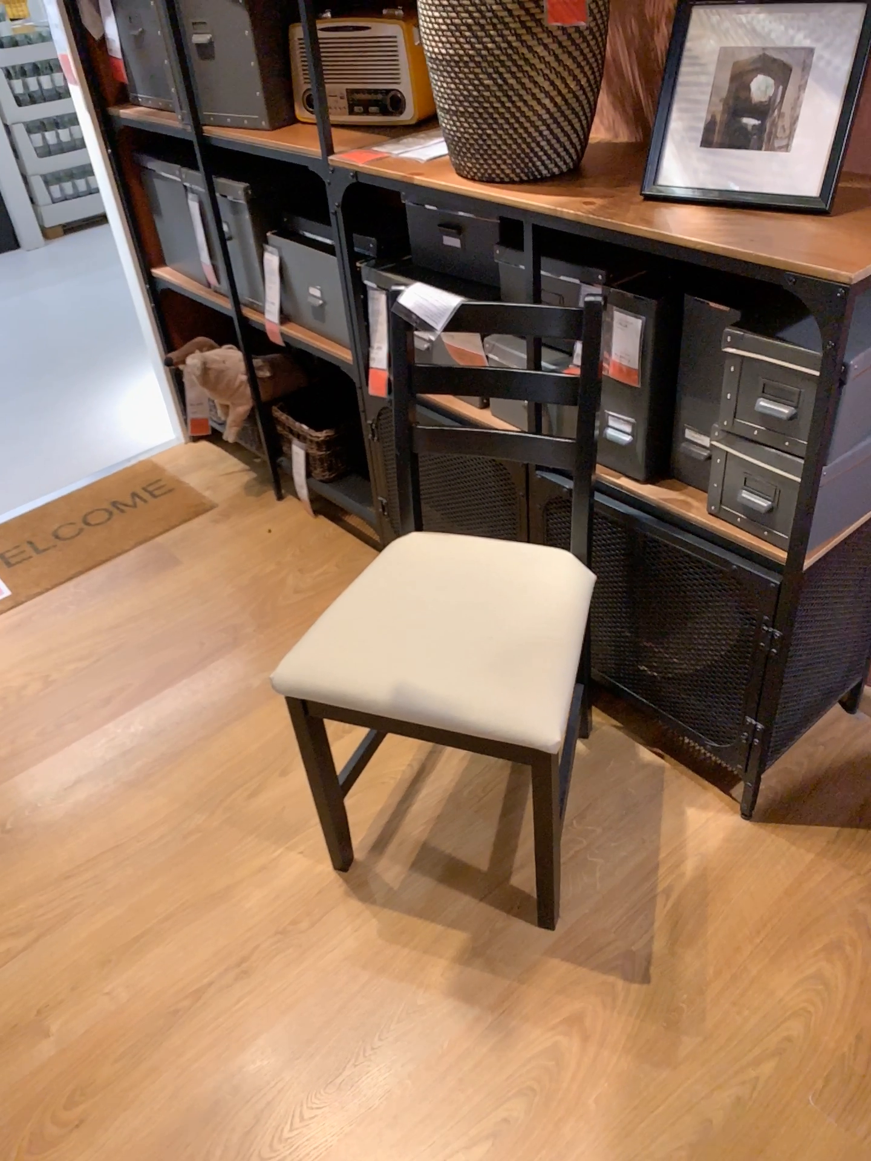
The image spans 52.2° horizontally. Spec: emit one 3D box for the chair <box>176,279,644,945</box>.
[{"bbox_3d":[0.035,0.044,1.325,0.411,0.797,0.501,10,41,20],"label":"chair"}]
